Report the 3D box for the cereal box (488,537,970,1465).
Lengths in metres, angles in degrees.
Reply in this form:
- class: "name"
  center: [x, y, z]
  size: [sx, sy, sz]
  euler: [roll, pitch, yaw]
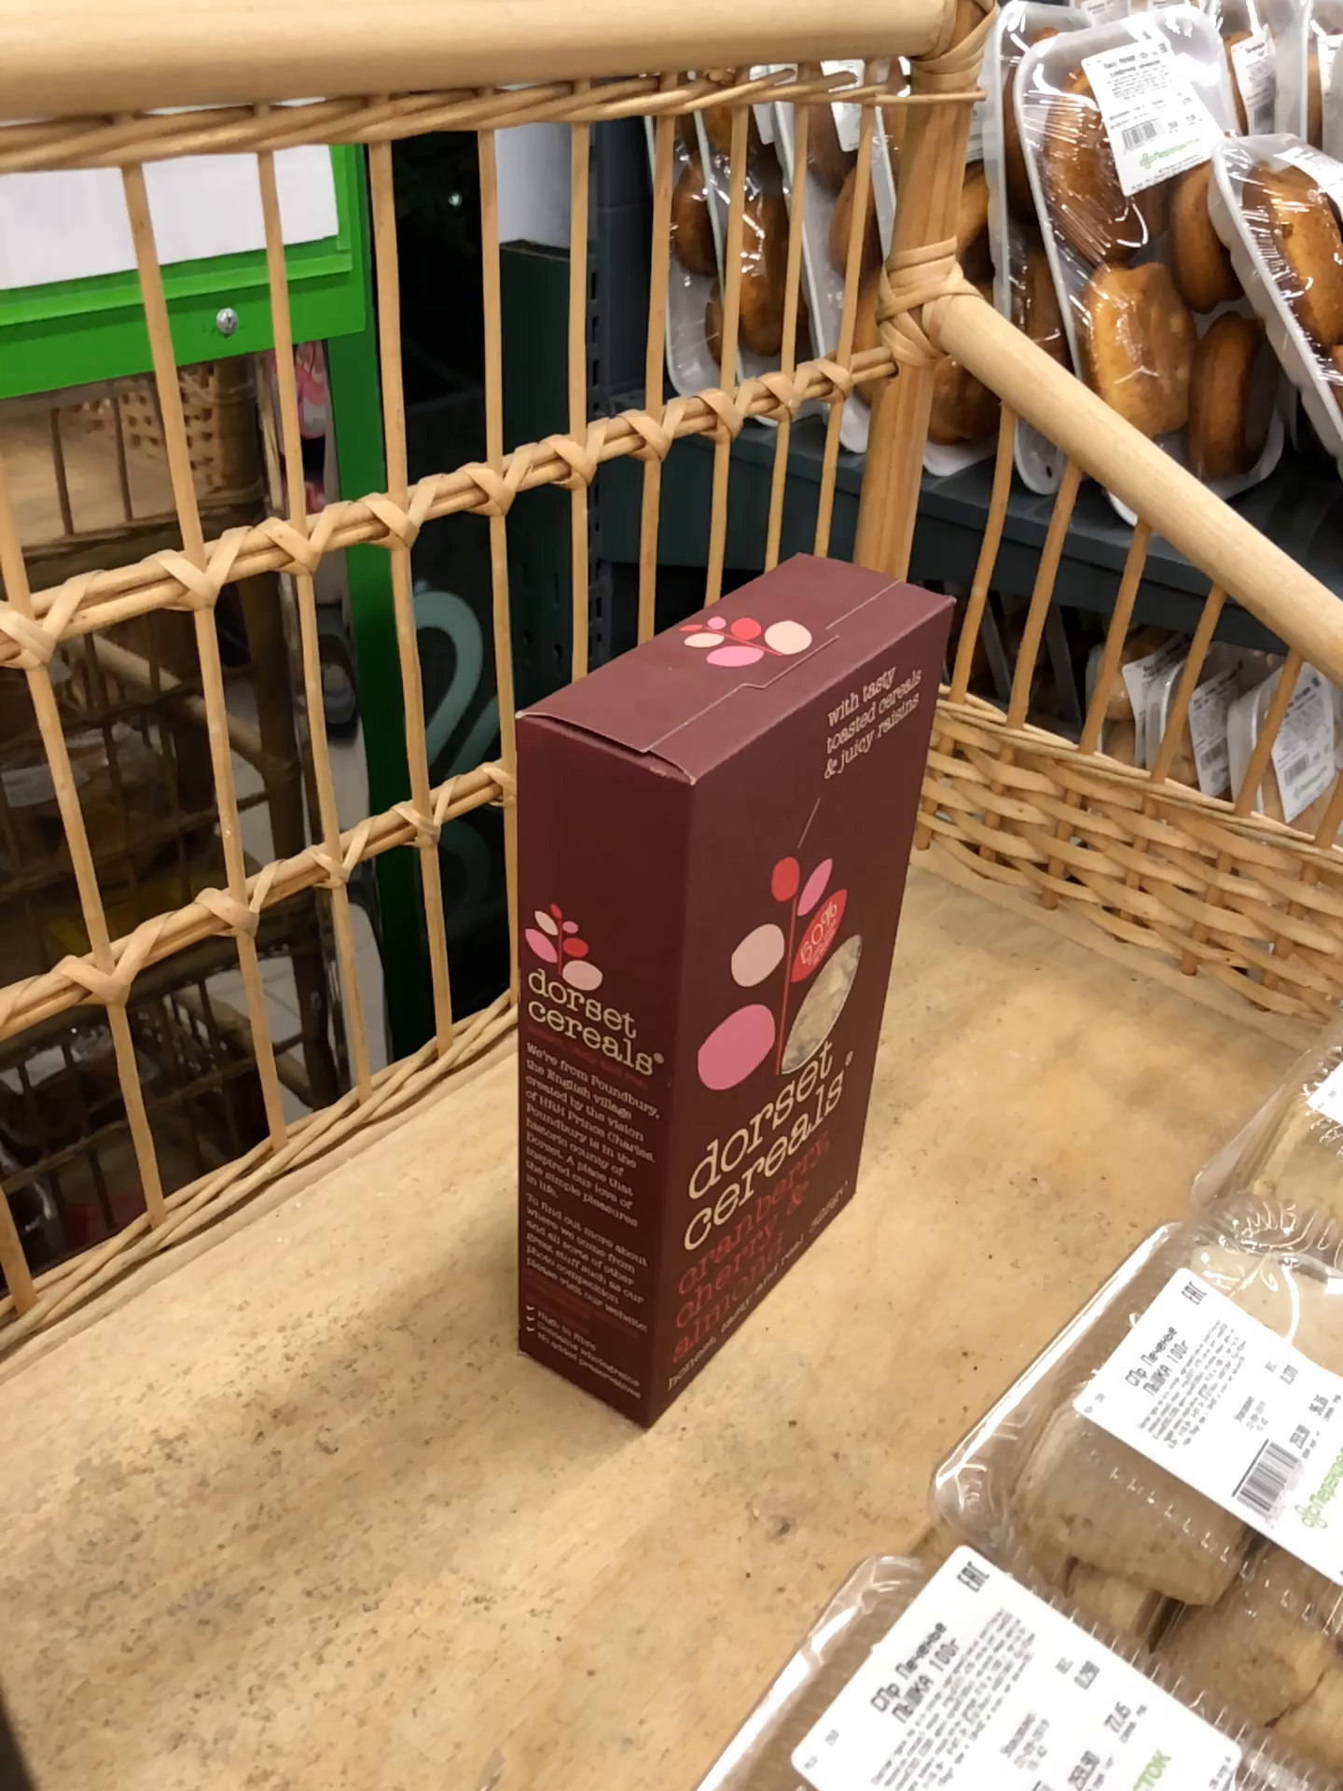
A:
- class: "cereal box"
  center: [0.014, 0.029, 0.388]
  size: [0.050, 0.209, 0.121]
  euler: [23, 39, 27]
